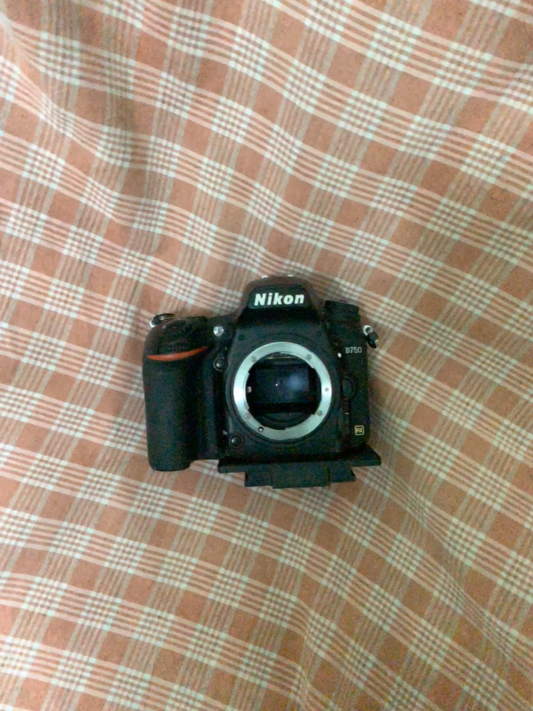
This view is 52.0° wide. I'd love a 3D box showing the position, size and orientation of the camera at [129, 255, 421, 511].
[{"bbox_3d":[0.005,0.012,0.325,0.145,0.085,0.125,-3,94,-2],"label":"camera"}]
